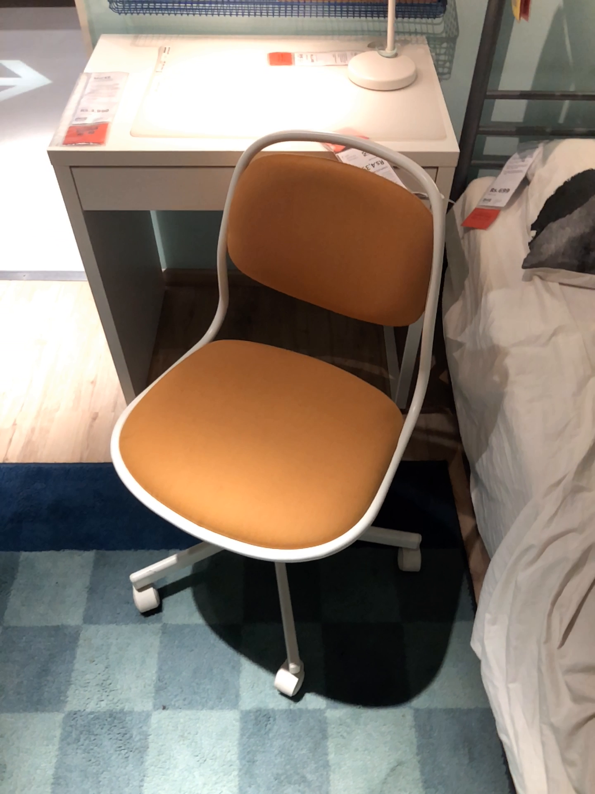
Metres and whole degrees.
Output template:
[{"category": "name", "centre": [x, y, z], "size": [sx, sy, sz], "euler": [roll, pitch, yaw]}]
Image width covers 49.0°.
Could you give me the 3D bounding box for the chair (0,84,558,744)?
[{"category": "chair", "centre": [-0.054, 0.054, 1.095], "size": [0.611, 0.795, 0.563], "euler": [21, 53, 17]}]
